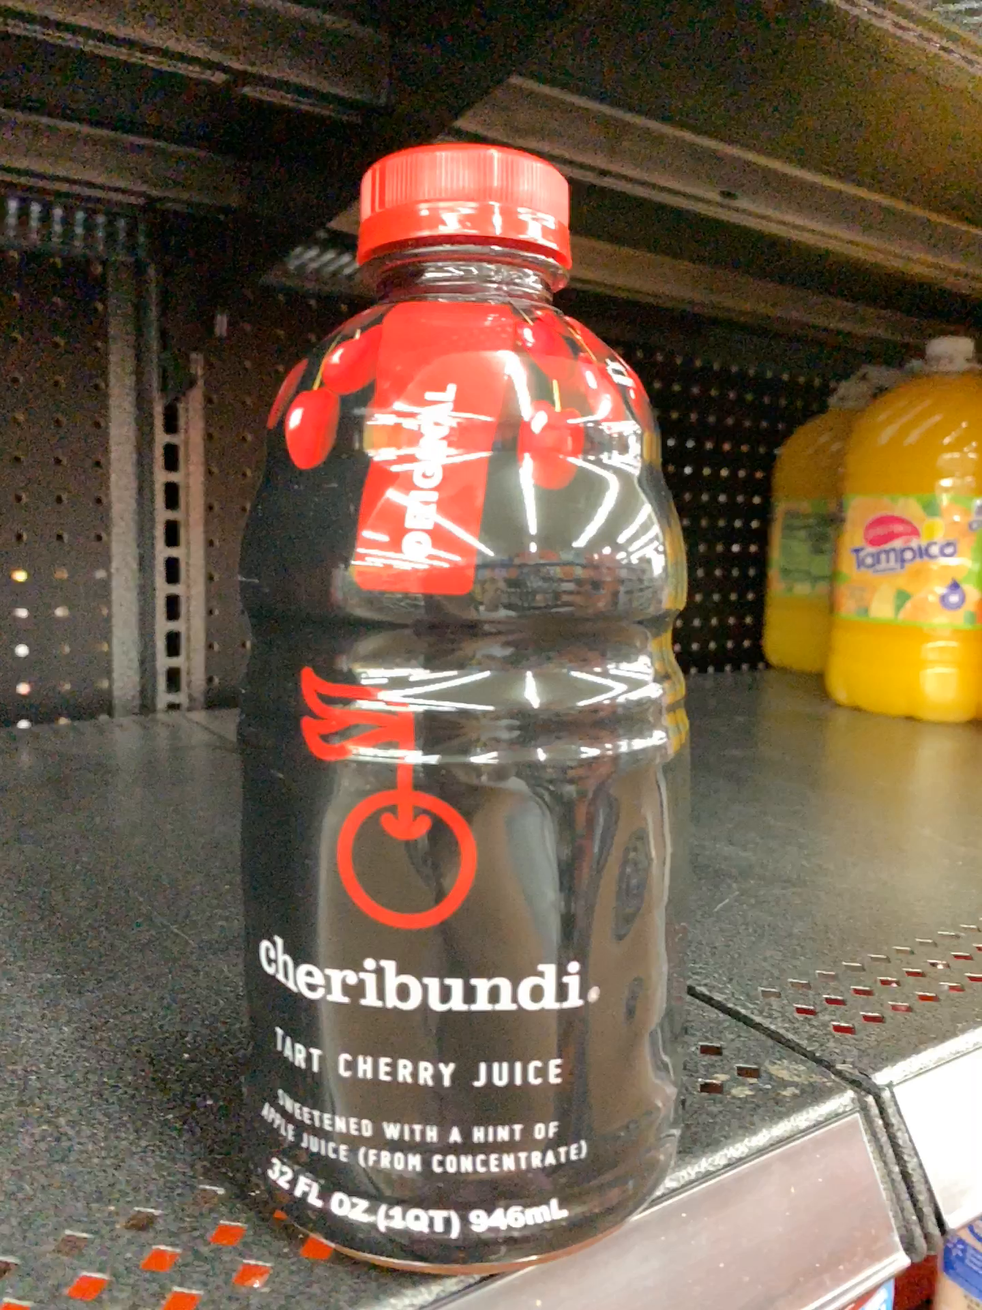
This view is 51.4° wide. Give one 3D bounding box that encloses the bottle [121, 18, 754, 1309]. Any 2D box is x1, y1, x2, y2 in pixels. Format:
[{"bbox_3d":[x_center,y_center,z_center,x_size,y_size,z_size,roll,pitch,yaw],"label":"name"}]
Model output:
[{"bbox_3d":[-0.005,0.005,0.207,0.095,0.205,0.090,2,7,0],"label":"bottle"}]
